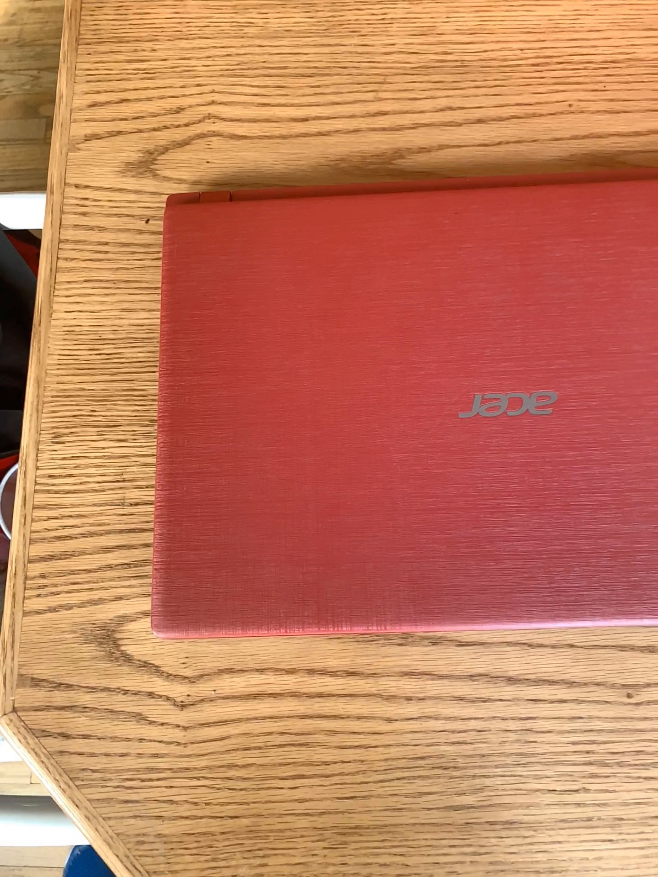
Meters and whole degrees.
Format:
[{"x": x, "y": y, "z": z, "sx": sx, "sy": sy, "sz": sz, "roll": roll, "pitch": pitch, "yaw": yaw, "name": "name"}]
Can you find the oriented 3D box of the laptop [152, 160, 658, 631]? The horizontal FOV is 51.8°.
[{"x": 0.089, "y": -0.025, "z": 0.355, "sx": 0.362, "sy": 0.013, "sz": 0.236, "roll": -2, "pitch": 79, "yaw": 4, "name": "laptop"}]
